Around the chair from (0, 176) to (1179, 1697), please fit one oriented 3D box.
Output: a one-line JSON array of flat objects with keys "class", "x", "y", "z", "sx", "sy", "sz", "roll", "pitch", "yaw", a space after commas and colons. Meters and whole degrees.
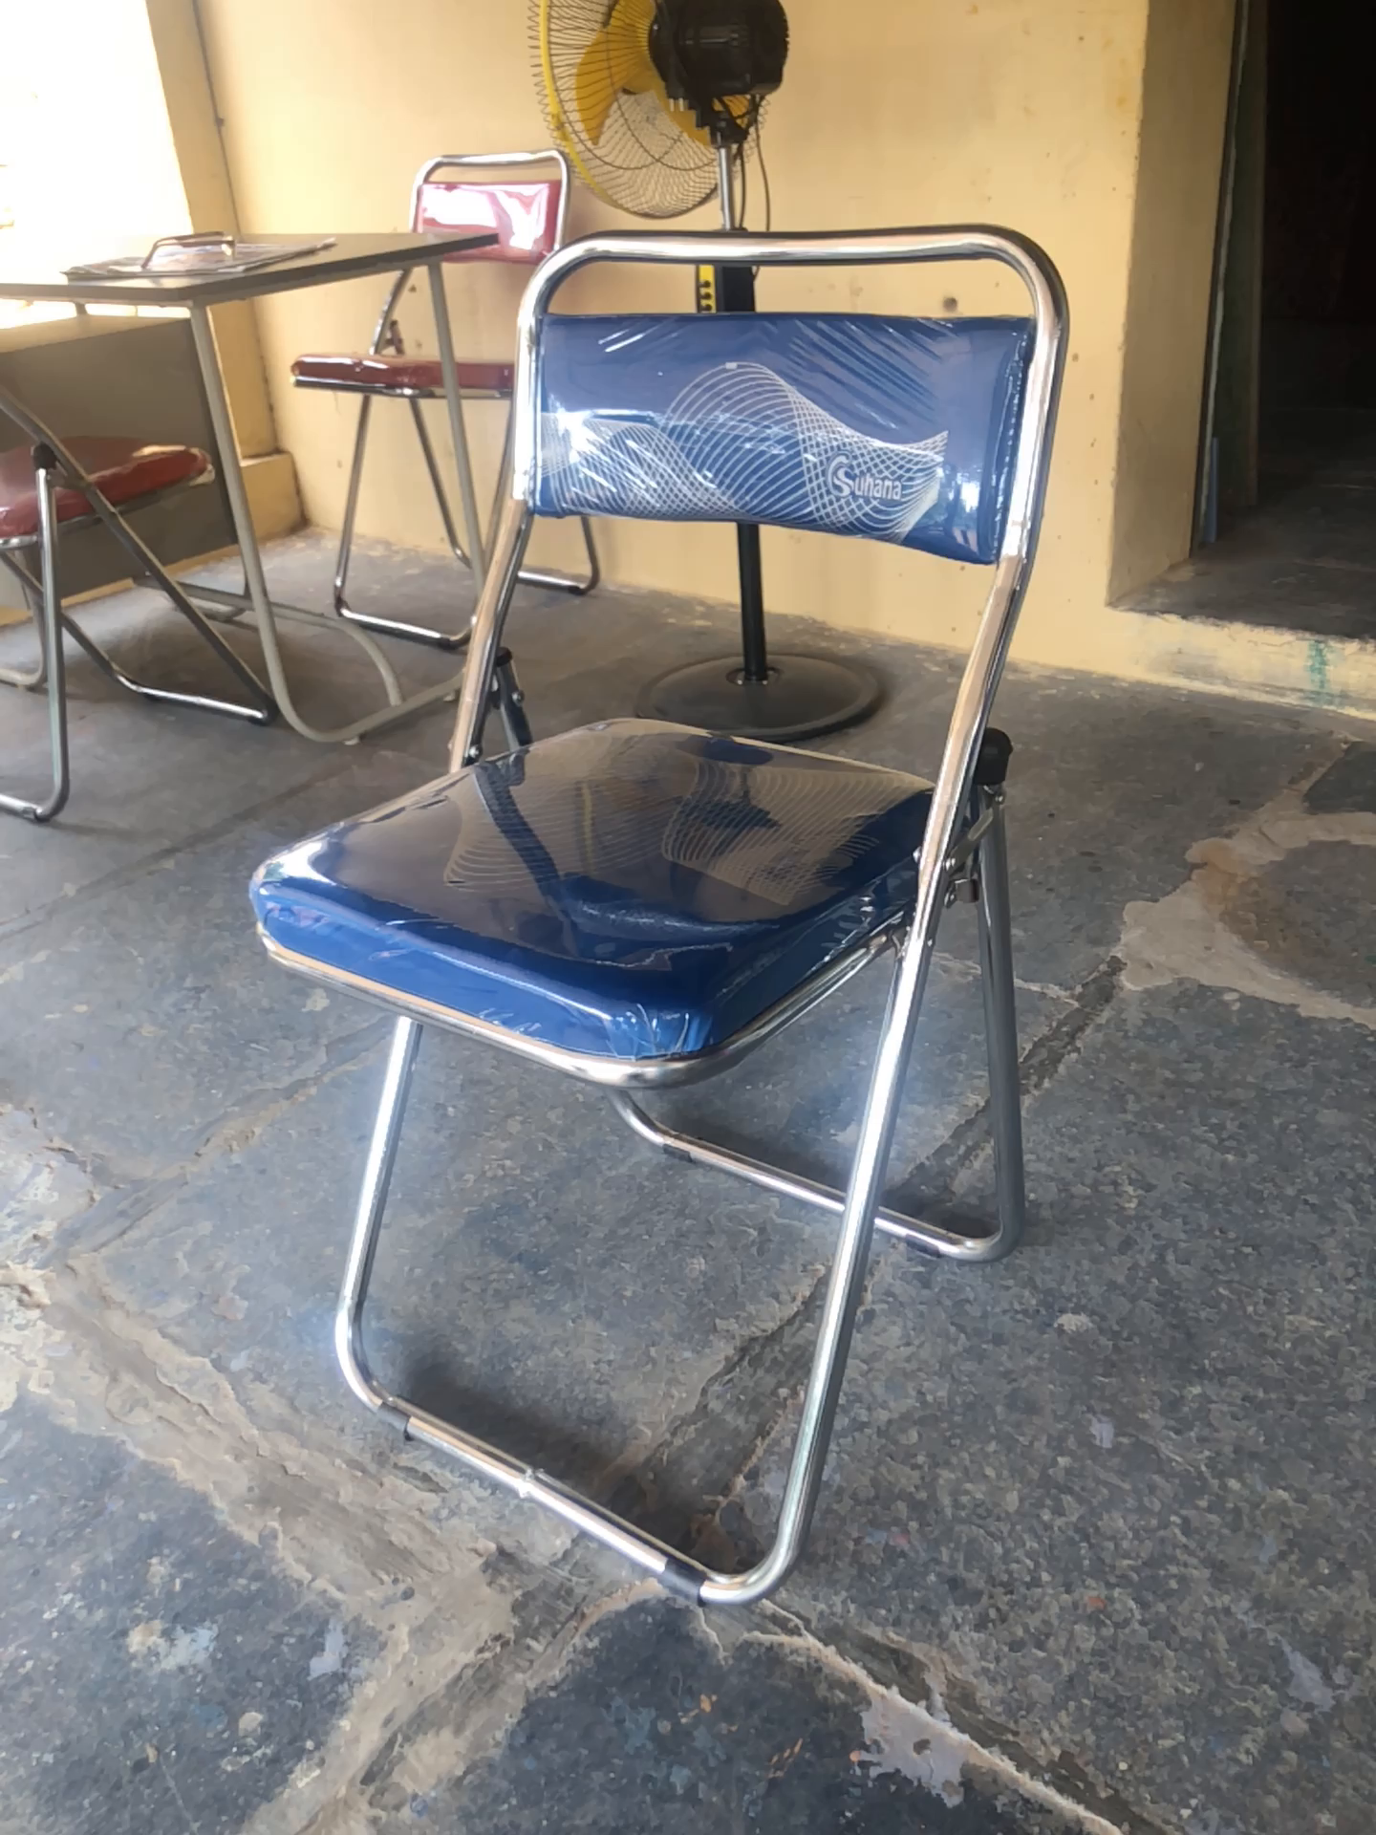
[{"class": "chair", "x": -0.026, "y": -0.046, "z": 1.052, "sx": 0.500, "sy": 0.806, "sz": 0.512, "roll": 15, "pitch": 32, "yaw": 32}]
